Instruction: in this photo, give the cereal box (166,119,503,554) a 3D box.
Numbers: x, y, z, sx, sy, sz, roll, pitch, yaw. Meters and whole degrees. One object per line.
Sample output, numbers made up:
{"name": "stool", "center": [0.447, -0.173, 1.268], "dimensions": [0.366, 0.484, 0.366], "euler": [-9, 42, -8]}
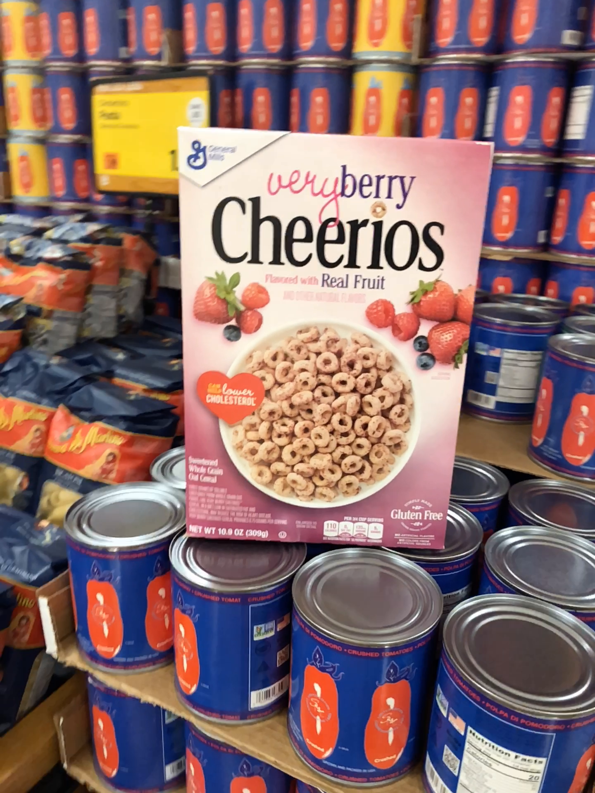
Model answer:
{"name": "cereal box", "center": [0.017, -0.035, 0.465], "dimensions": [0.200, 0.288, 0.060], "euler": [3, 19, 0]}
